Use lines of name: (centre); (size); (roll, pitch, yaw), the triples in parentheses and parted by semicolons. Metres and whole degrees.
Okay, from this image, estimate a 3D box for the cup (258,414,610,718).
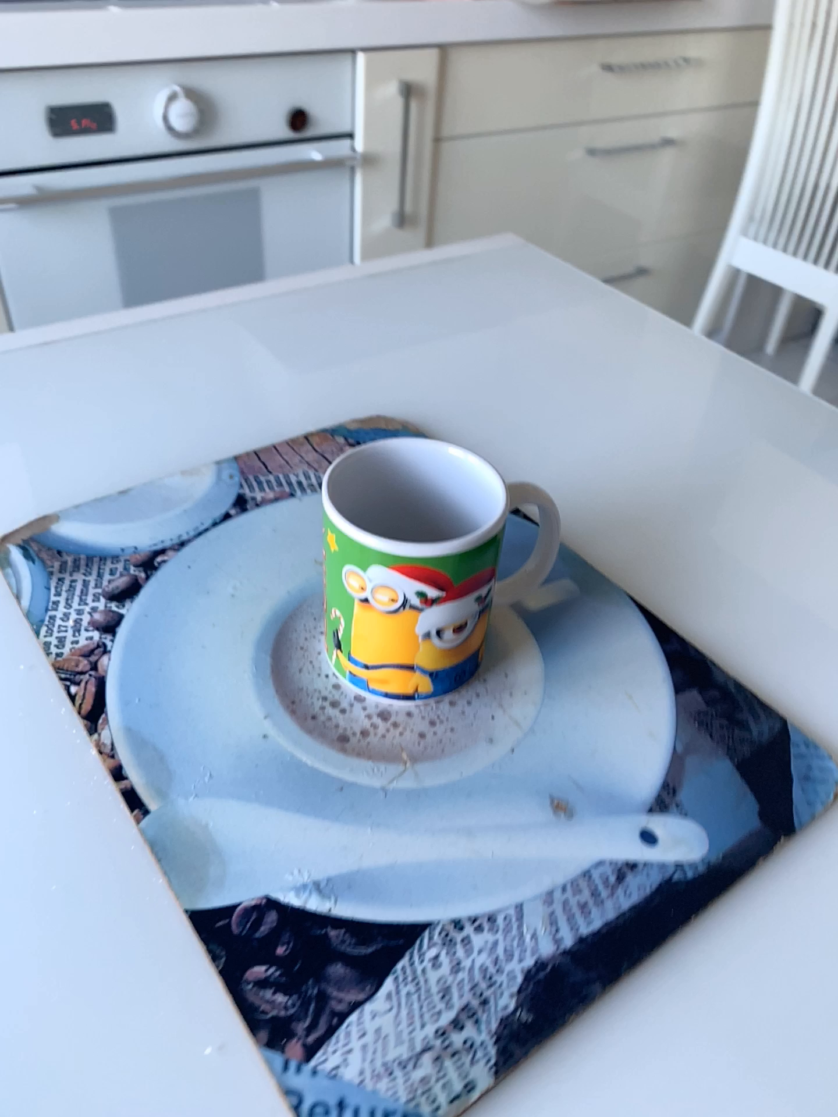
cup: (0.003, -0.002, 0.418); (0.133, 0.077, 0.094); (-14, 44, -21)
